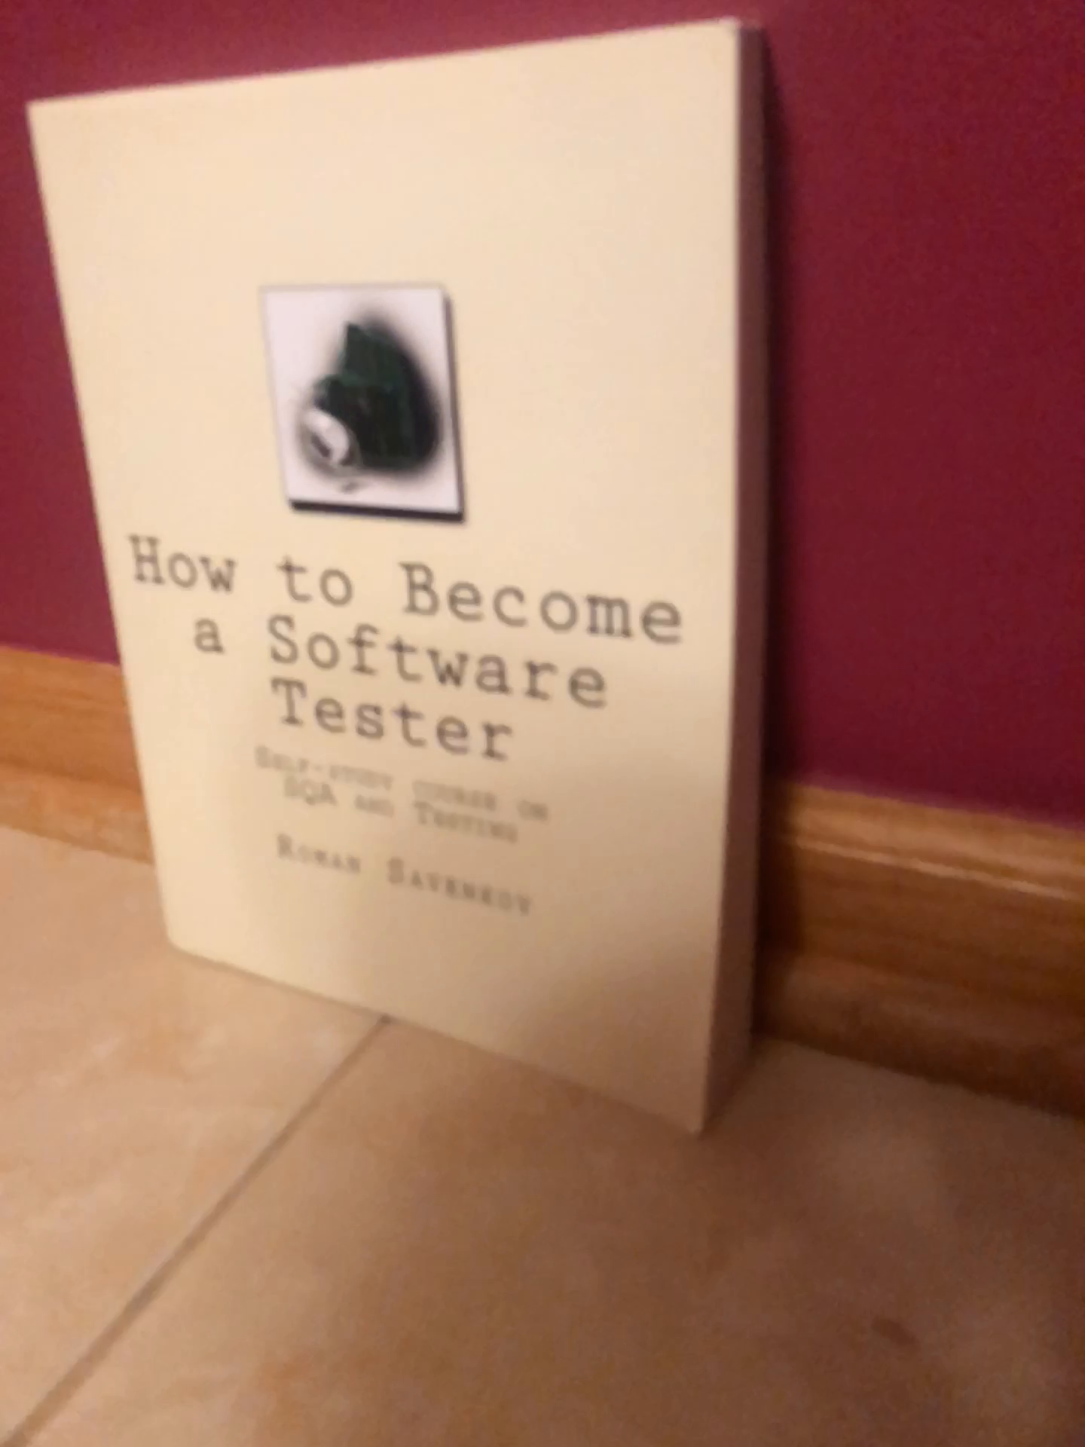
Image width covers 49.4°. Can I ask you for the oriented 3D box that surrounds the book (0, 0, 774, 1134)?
[{"bbox_3d":[-0.047,-0.039,0.346,0.220,0.274,0.045,9,24,30],"label":"book"}]
